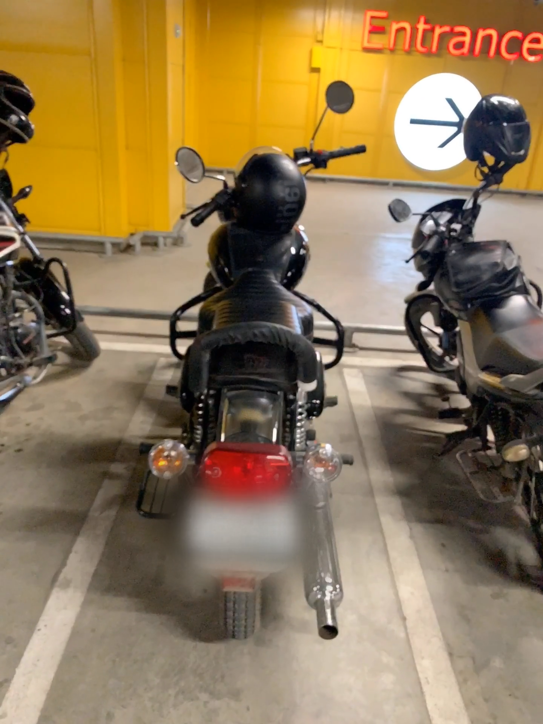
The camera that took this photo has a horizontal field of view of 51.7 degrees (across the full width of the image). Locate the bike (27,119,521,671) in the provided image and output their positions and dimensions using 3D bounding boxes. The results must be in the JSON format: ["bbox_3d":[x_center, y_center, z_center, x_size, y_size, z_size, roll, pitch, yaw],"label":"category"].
[{"bbox_3d":[-0.172,-0.180,1.905,0.763,1.051,1.833,0,25,-8],"label":"bike"}]

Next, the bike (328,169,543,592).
[{"bbox_3d":[0.682,-0.151,2.091,0.598,0.925,1.726,2,23,-4],"label":"bike"}]
